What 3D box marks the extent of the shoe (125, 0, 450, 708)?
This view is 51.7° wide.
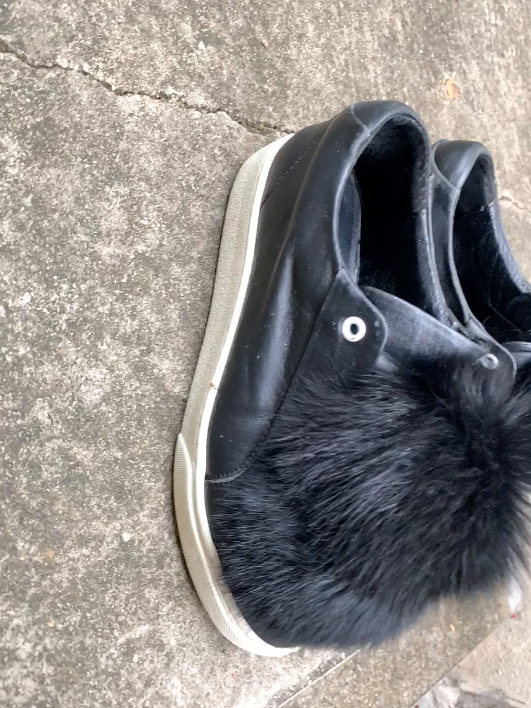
[{"bbox_3d":[0.016,-0.005,0.257,0.095,0.097,0.269,14,74,-41],"label":"shoe"}]

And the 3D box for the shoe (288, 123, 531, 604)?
[{"bbox_3d":[0.118,0.005,0.333,0.098,0.097,0.243,-28,102,-42],"label":"shoe"}]
